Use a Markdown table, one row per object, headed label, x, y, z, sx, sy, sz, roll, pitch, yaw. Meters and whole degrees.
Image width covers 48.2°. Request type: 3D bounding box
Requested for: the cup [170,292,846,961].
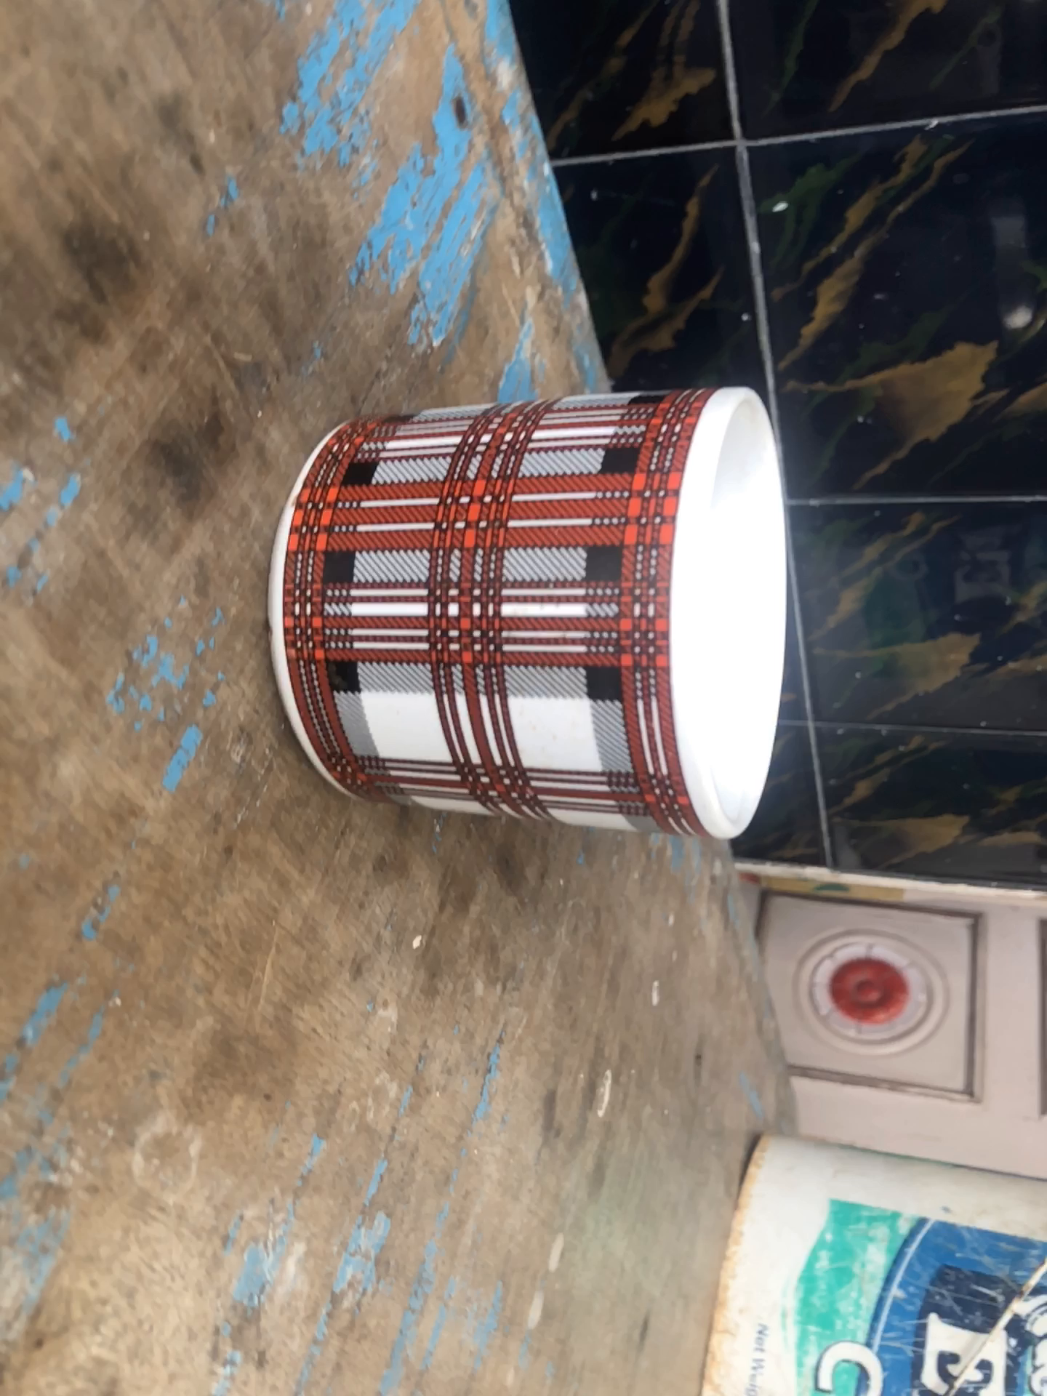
| label | x | y | z | sx | sy | sz | roll | pitch | yaw |
| --- | --- | --- | --- | --- | --- | --- | --- | --- | --- |
| cup | 0.010 | -0.005 | 0.209 | 0.111 | 0.079 | 0.060 | 61 | 37 | -54 |
